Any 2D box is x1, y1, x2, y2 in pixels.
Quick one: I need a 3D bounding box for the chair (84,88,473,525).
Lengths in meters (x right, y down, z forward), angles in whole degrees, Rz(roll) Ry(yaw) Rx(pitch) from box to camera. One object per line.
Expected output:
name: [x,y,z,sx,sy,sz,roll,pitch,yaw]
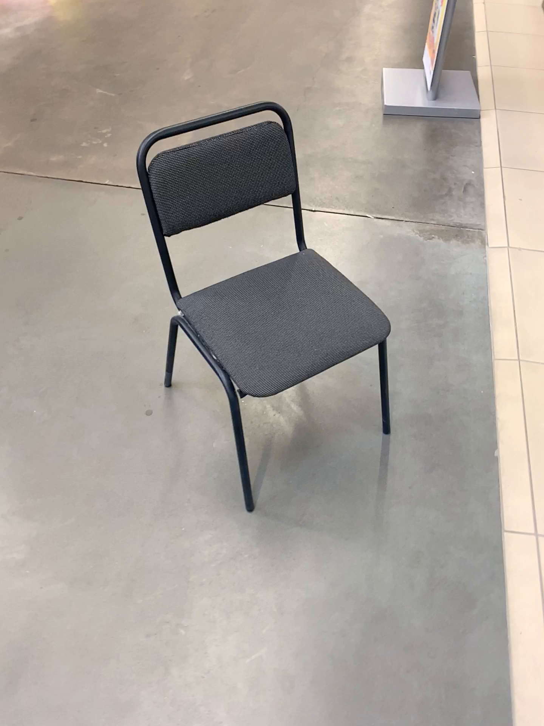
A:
chair: [-0.018,-0.142,1.407,0.550,0.737,0.632,-24,53,-20]
